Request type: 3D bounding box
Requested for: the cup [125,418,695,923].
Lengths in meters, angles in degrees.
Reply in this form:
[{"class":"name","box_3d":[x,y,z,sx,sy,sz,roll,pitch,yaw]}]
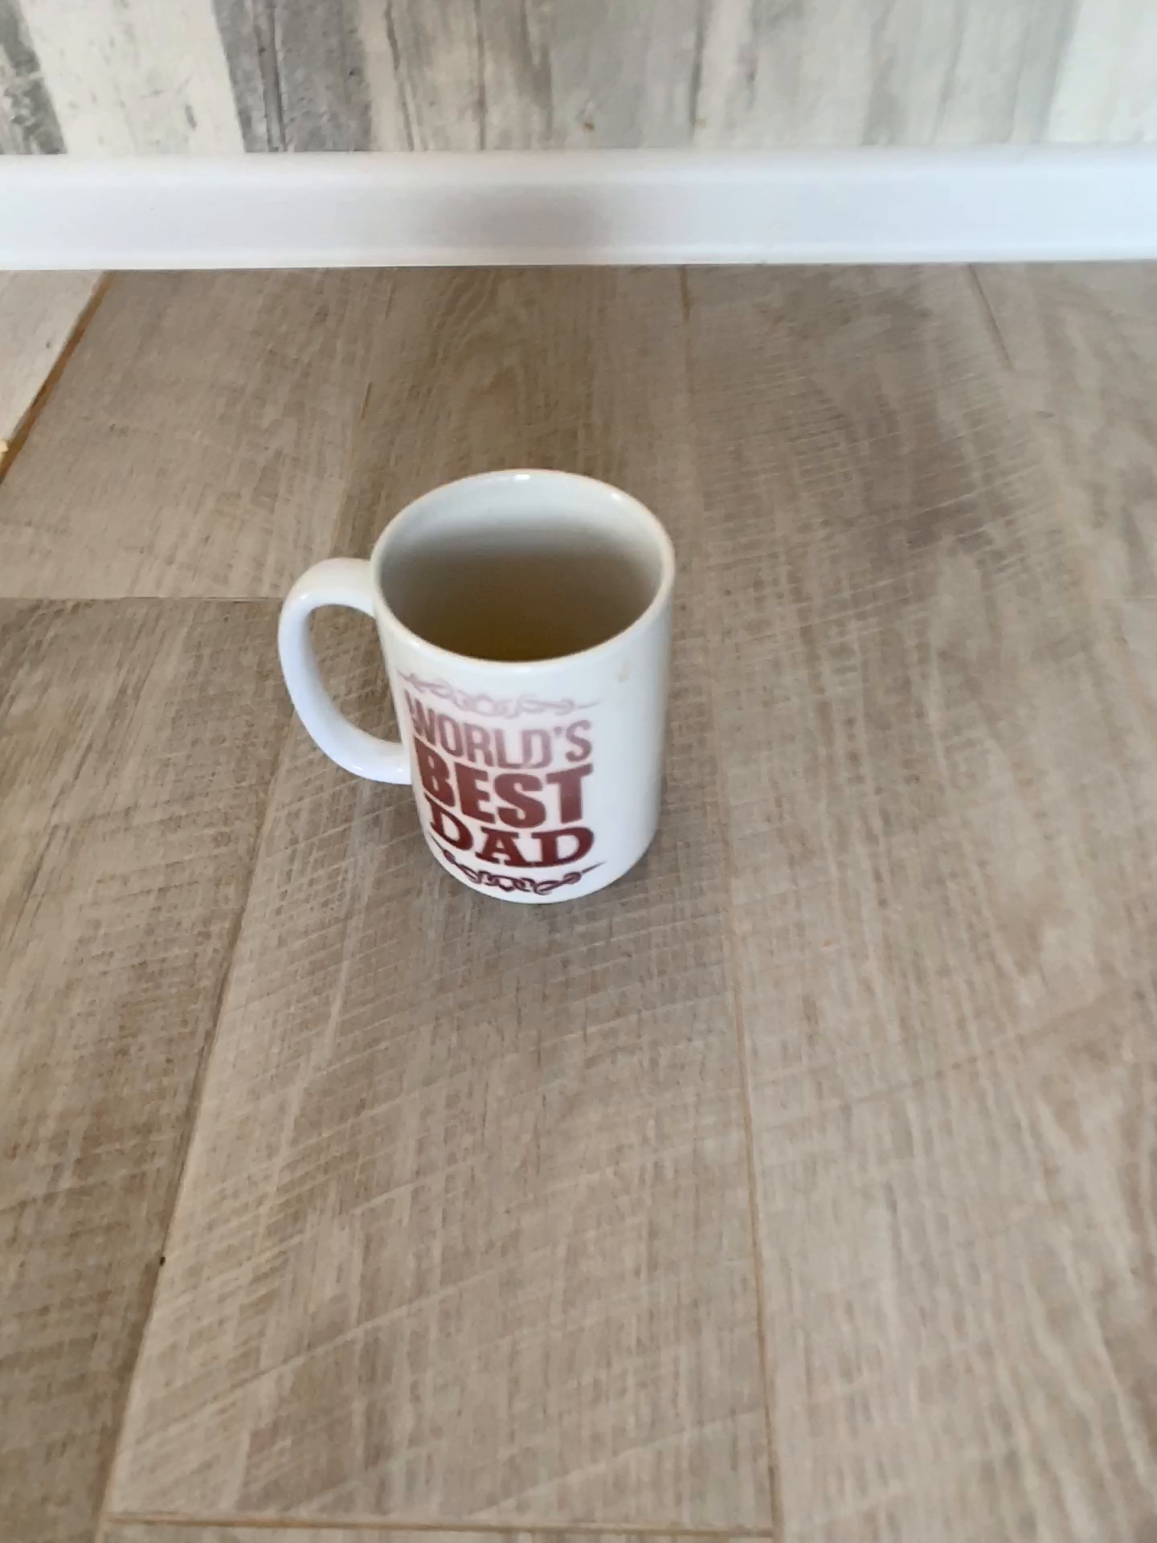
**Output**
[{"class":"cup","box_3d":[-0.038,-0.027,0.344,0.130,0.110,0.080,6,50,6]}]
